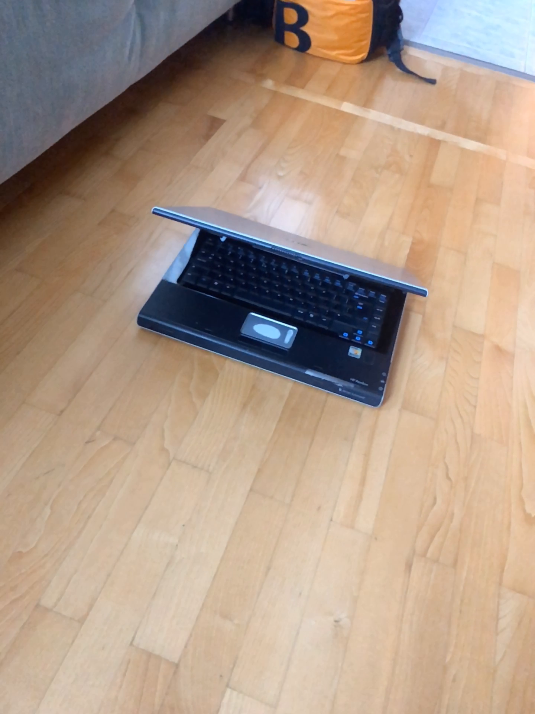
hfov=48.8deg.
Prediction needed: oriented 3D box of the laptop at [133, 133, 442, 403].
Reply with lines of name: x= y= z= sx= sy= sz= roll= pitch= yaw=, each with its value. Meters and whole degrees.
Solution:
laptop: x=0.034 y=-0.139 z=0.854 sx=0.361 sy=0.147 sz=0.270 roll=19 pitch=50 yaw=5
